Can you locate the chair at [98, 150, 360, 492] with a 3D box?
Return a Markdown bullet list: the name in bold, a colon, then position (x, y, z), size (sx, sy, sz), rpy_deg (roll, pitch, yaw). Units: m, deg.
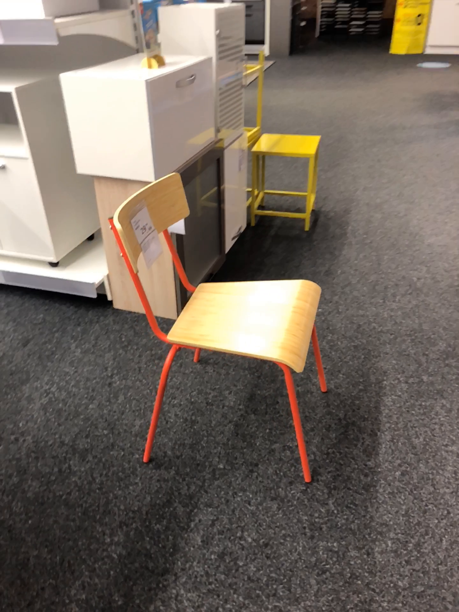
- **chair**: position (0.045, 0.029, 1.502), size (0.560, 0.815, 0.503), rpy_deg (7, 34, 14)
